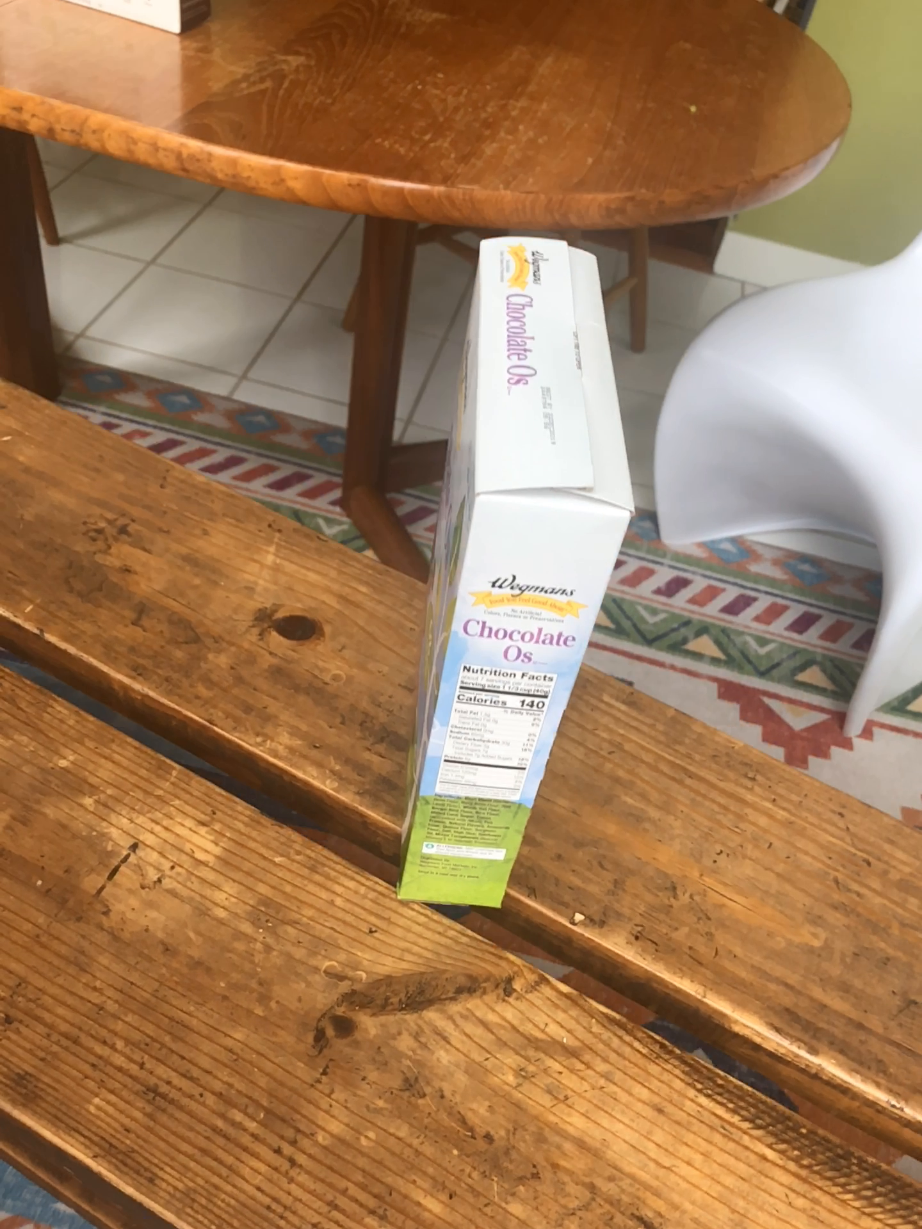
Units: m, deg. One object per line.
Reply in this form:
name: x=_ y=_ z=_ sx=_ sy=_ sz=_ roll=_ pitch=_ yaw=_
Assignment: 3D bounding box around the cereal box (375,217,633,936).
cereal box: x=0.009 y=-0.010 z=0.499 sx=0.060 sy=0.278 sz=0.212 roll=7 pitch=44 yaw=-5
